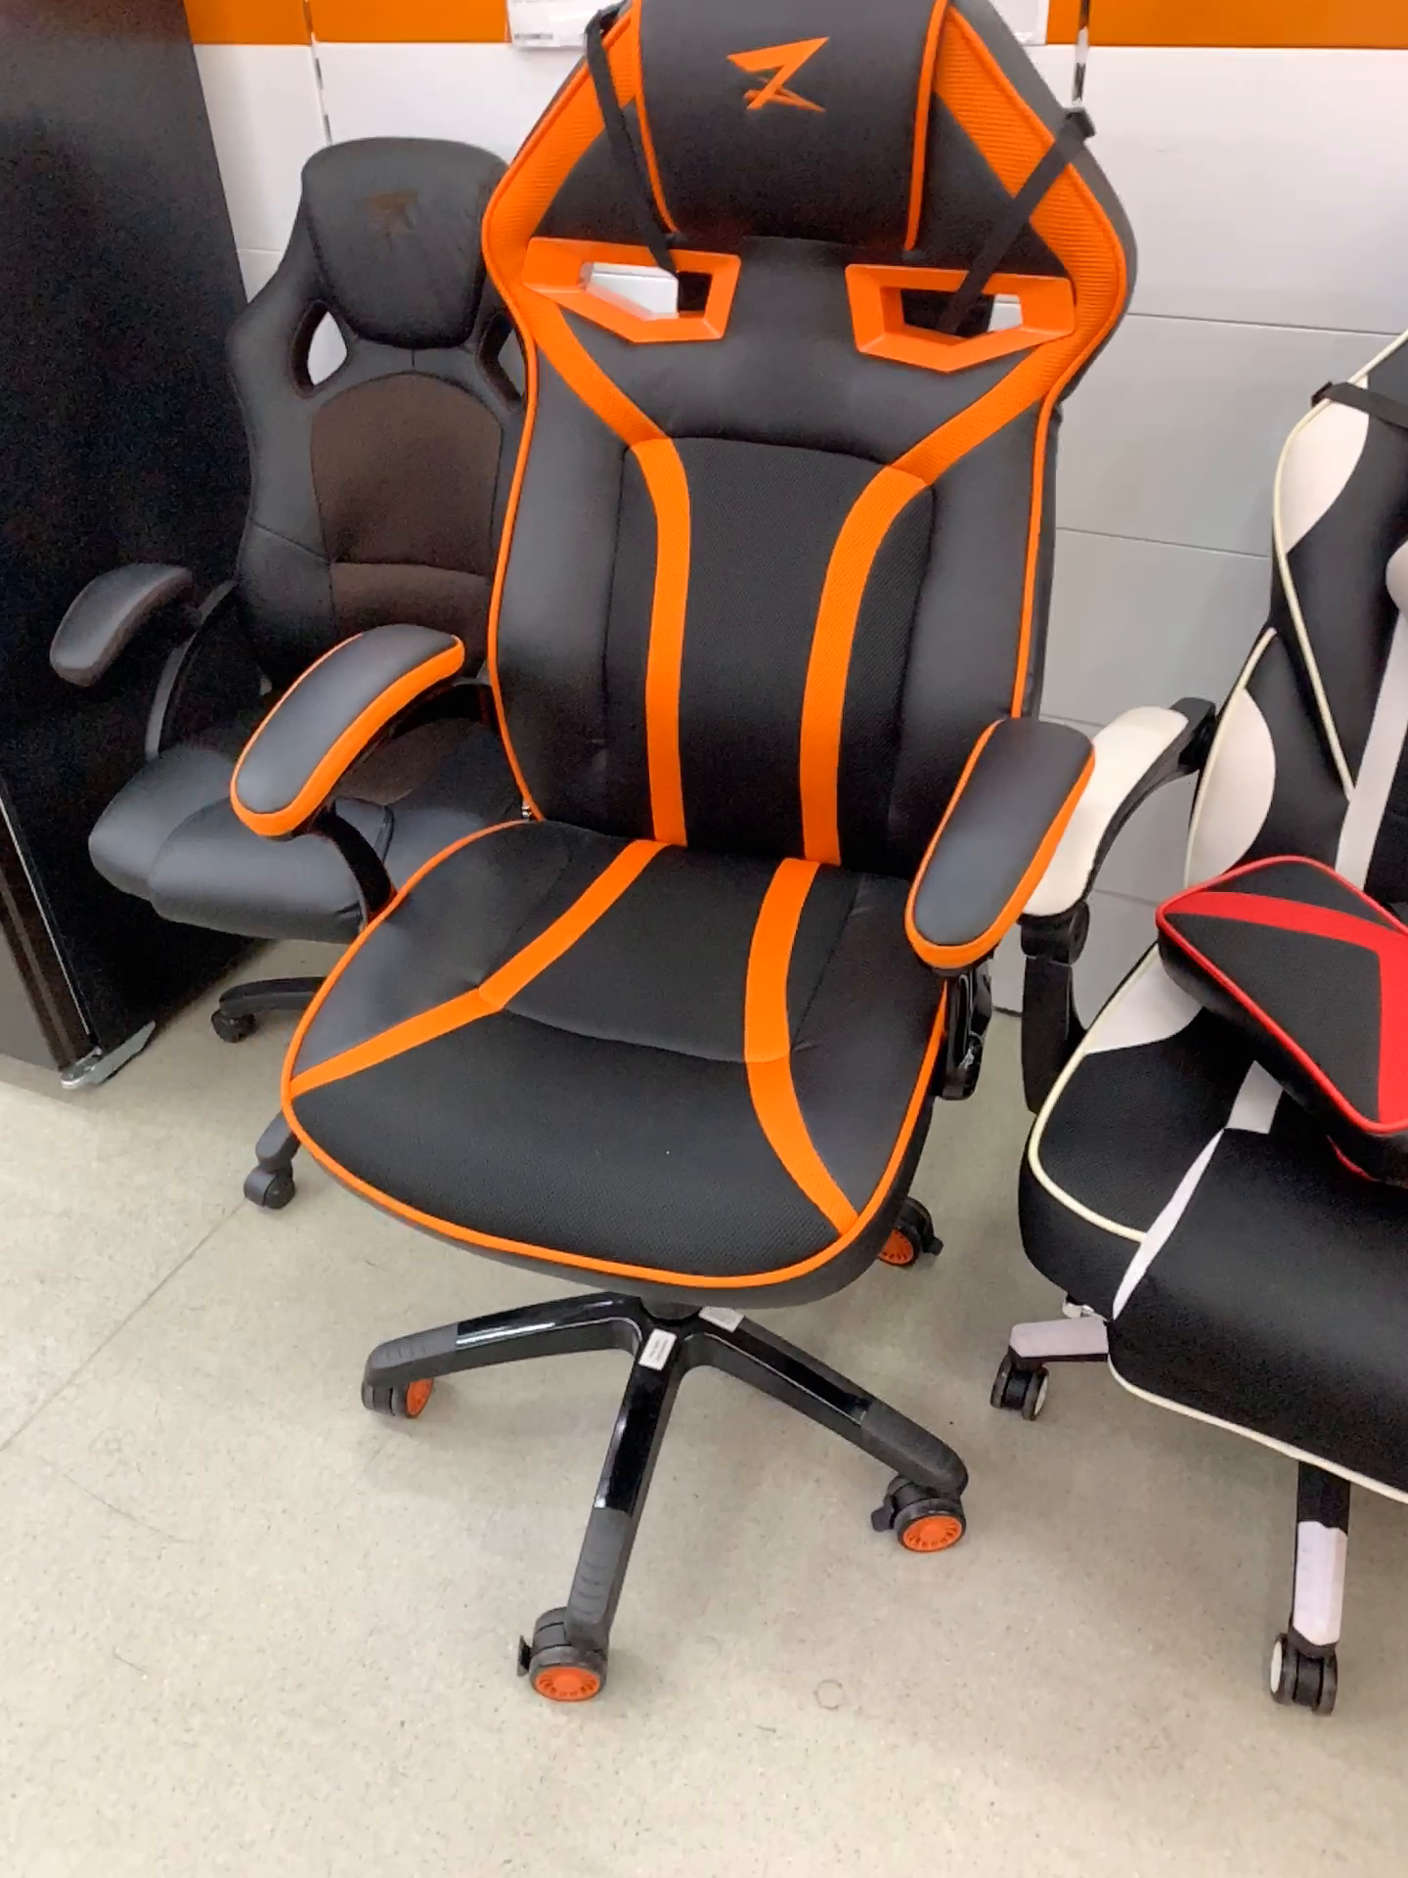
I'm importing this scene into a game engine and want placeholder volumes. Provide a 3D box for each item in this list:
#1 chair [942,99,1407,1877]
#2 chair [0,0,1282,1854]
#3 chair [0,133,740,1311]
[{"bbox_3d":[0.749,0.017,1.242,0.850,1.193,0.824,10,38,18],"label":"chair"},{"bbox_3d":[-0.068,-0.043,1.222,0.721,1.312,0.734,14,40,22],"label":"chair"},{"bbox_3d":[-0.477,-0.301,1.975,0.820,1.322,0.724,10,38,18],"label":"chair"}]
